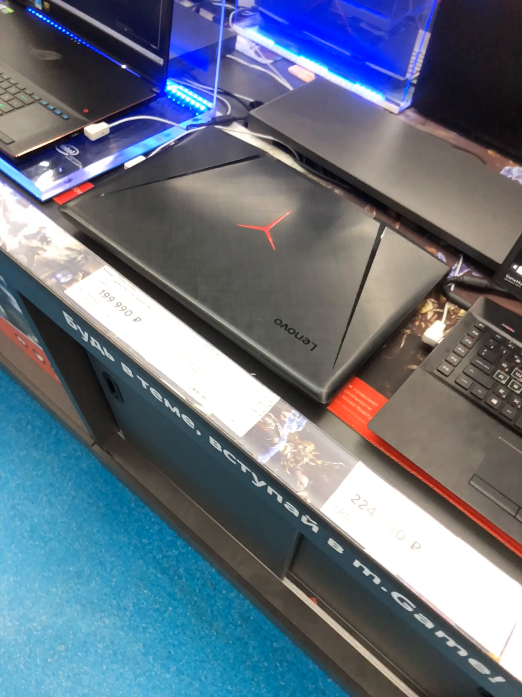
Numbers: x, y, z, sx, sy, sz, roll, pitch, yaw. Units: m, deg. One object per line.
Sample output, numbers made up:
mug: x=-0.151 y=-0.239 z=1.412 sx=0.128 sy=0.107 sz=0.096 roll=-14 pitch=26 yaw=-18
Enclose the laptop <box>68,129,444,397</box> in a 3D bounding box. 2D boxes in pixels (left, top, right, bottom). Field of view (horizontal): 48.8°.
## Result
laptop: x=-0.003 y=-0.139 z=0.731 sx=0.400 sy=0.005 sz=0.270 roll=36 pitch=56 yaw=18
